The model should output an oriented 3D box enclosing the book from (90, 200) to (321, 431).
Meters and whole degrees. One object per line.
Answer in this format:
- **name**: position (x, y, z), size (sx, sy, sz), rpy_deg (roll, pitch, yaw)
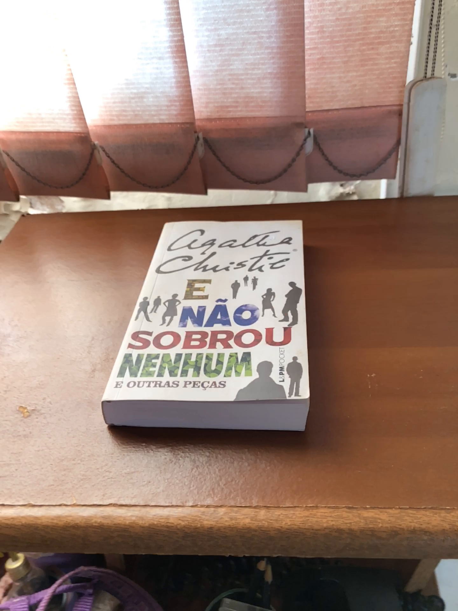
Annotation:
- **book**: position (-0.002, -0.008, 0.317), size (0.110, 0.024, 0.187), rpy_deg (0, 40, 8)
